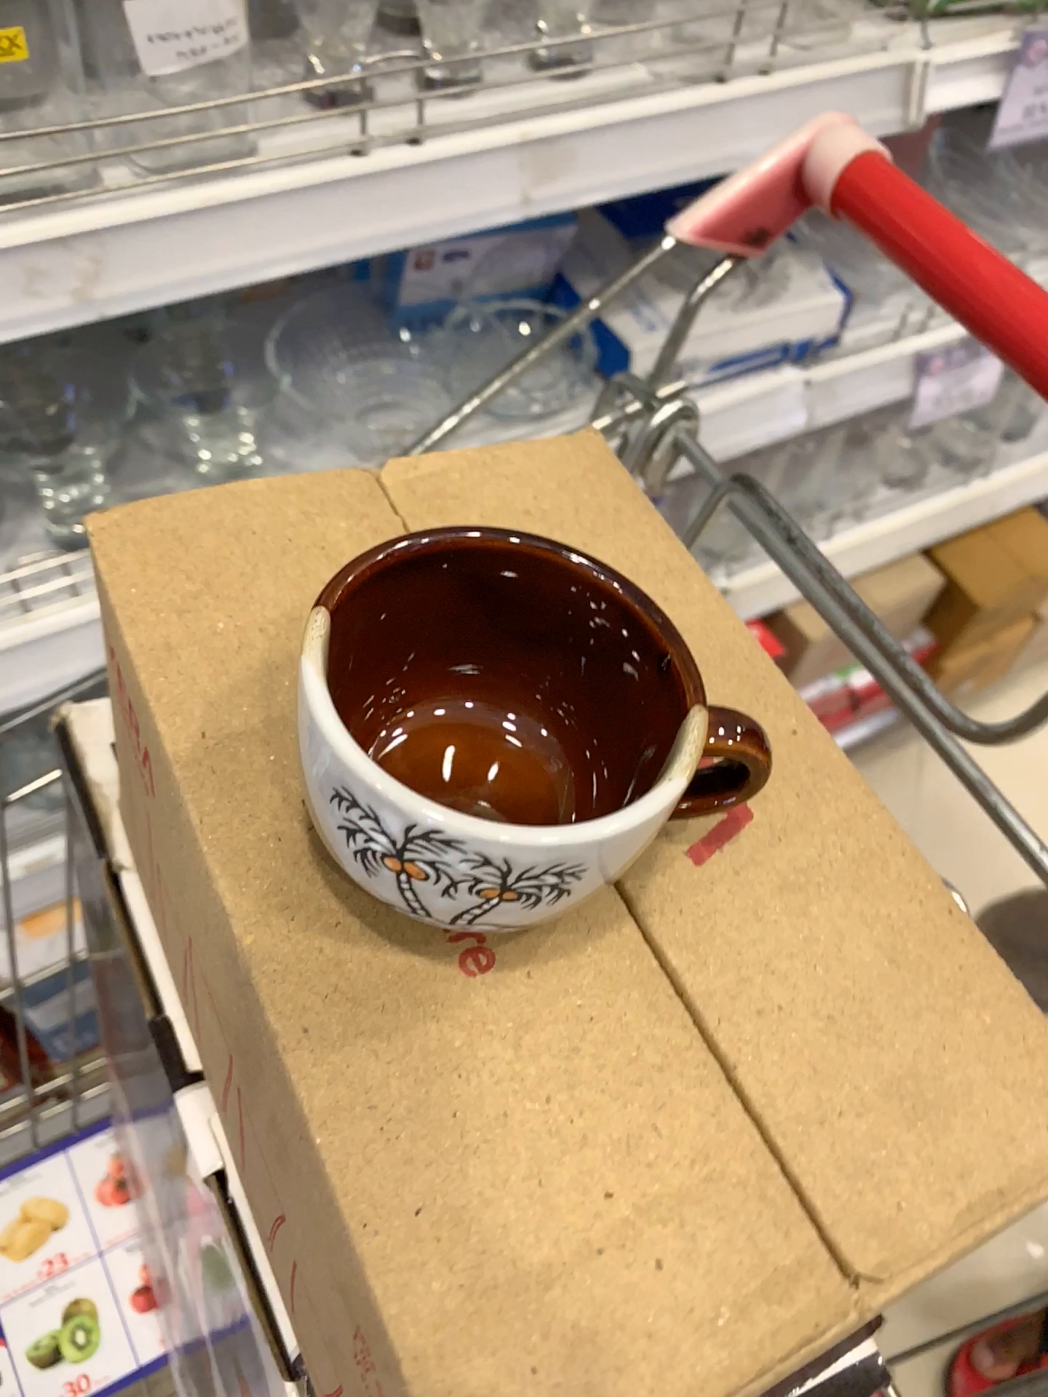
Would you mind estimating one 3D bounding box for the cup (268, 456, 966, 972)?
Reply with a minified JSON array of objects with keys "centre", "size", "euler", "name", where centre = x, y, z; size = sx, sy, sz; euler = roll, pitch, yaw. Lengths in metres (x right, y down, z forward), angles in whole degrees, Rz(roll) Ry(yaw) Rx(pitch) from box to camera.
[{"centre":[0.009,0.006,0.193],"size":[0.100,0.060,0.060],"euler":[5,54,-11],"name":"cup"}]
